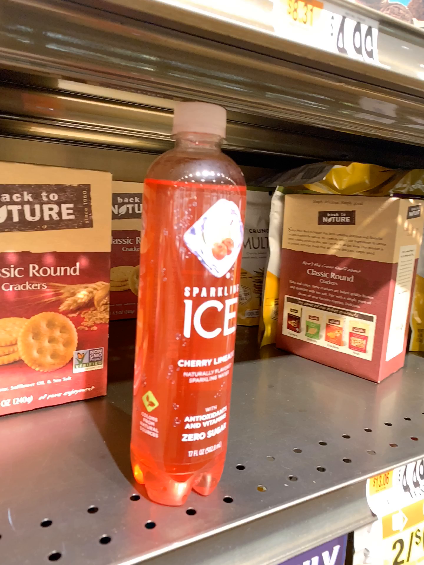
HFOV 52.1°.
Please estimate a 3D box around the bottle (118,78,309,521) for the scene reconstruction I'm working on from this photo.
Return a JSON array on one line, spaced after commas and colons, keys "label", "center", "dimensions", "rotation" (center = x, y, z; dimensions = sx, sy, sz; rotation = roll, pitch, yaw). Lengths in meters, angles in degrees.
[{"label": "bottle", "center": [-0.006, 0.011, 0.241], "dimensions": [0.066, 0.211, 0.060], "rotation": [5, 12, -1]}]
